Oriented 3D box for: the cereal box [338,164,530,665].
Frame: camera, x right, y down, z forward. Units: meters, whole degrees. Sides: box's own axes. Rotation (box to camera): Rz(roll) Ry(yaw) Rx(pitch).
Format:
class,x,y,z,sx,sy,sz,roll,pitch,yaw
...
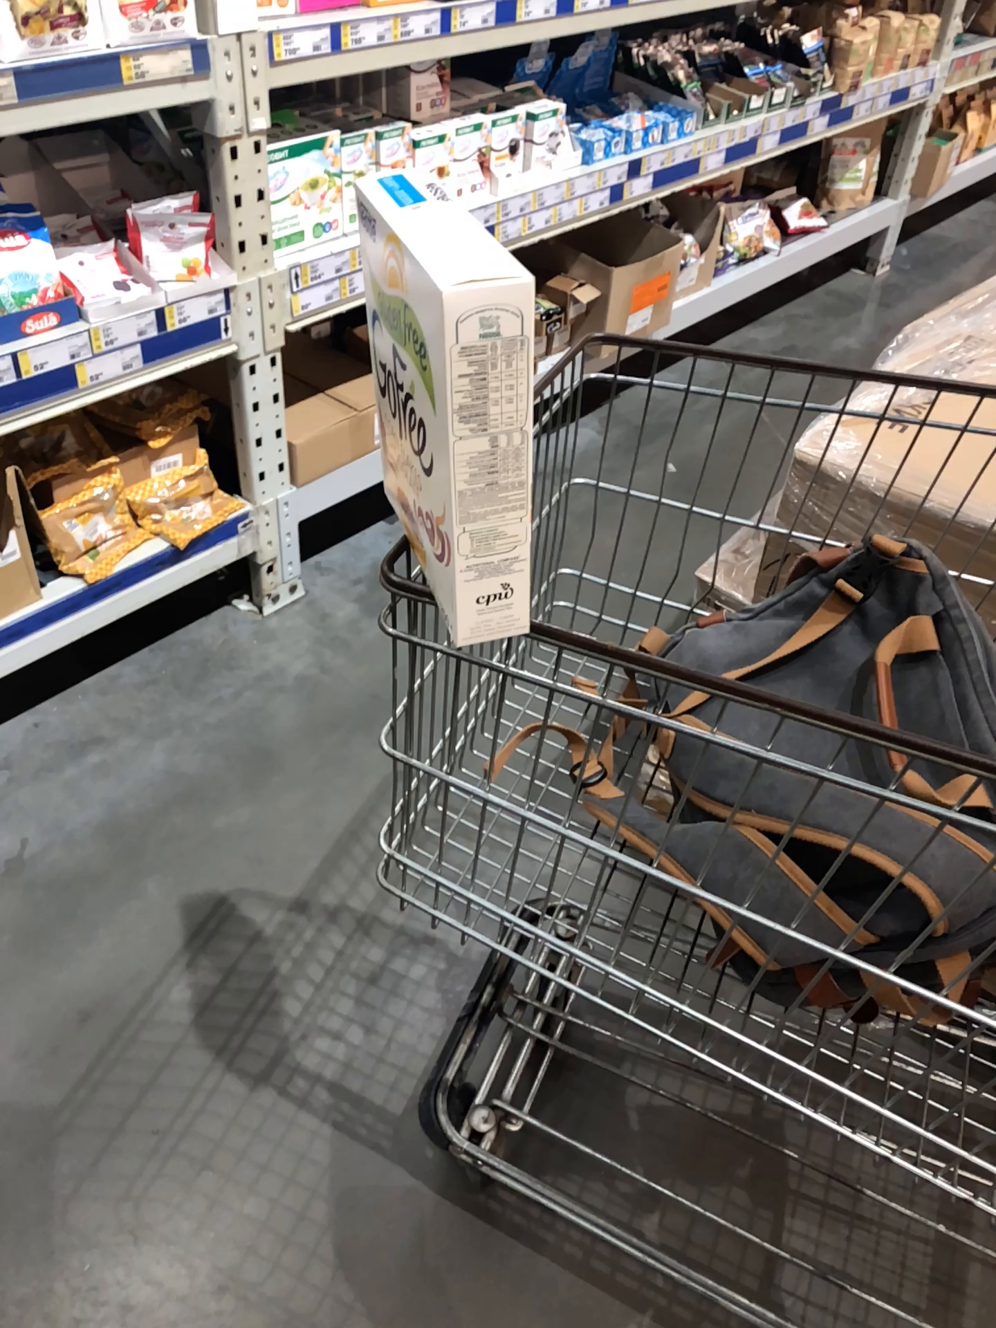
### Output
class,x,y,z,sx,sy,sz,roll,pitch,yaw
cereal box,-0.040,-0.153,0.662,0.050,0.228,0.201,-12,41,-14
